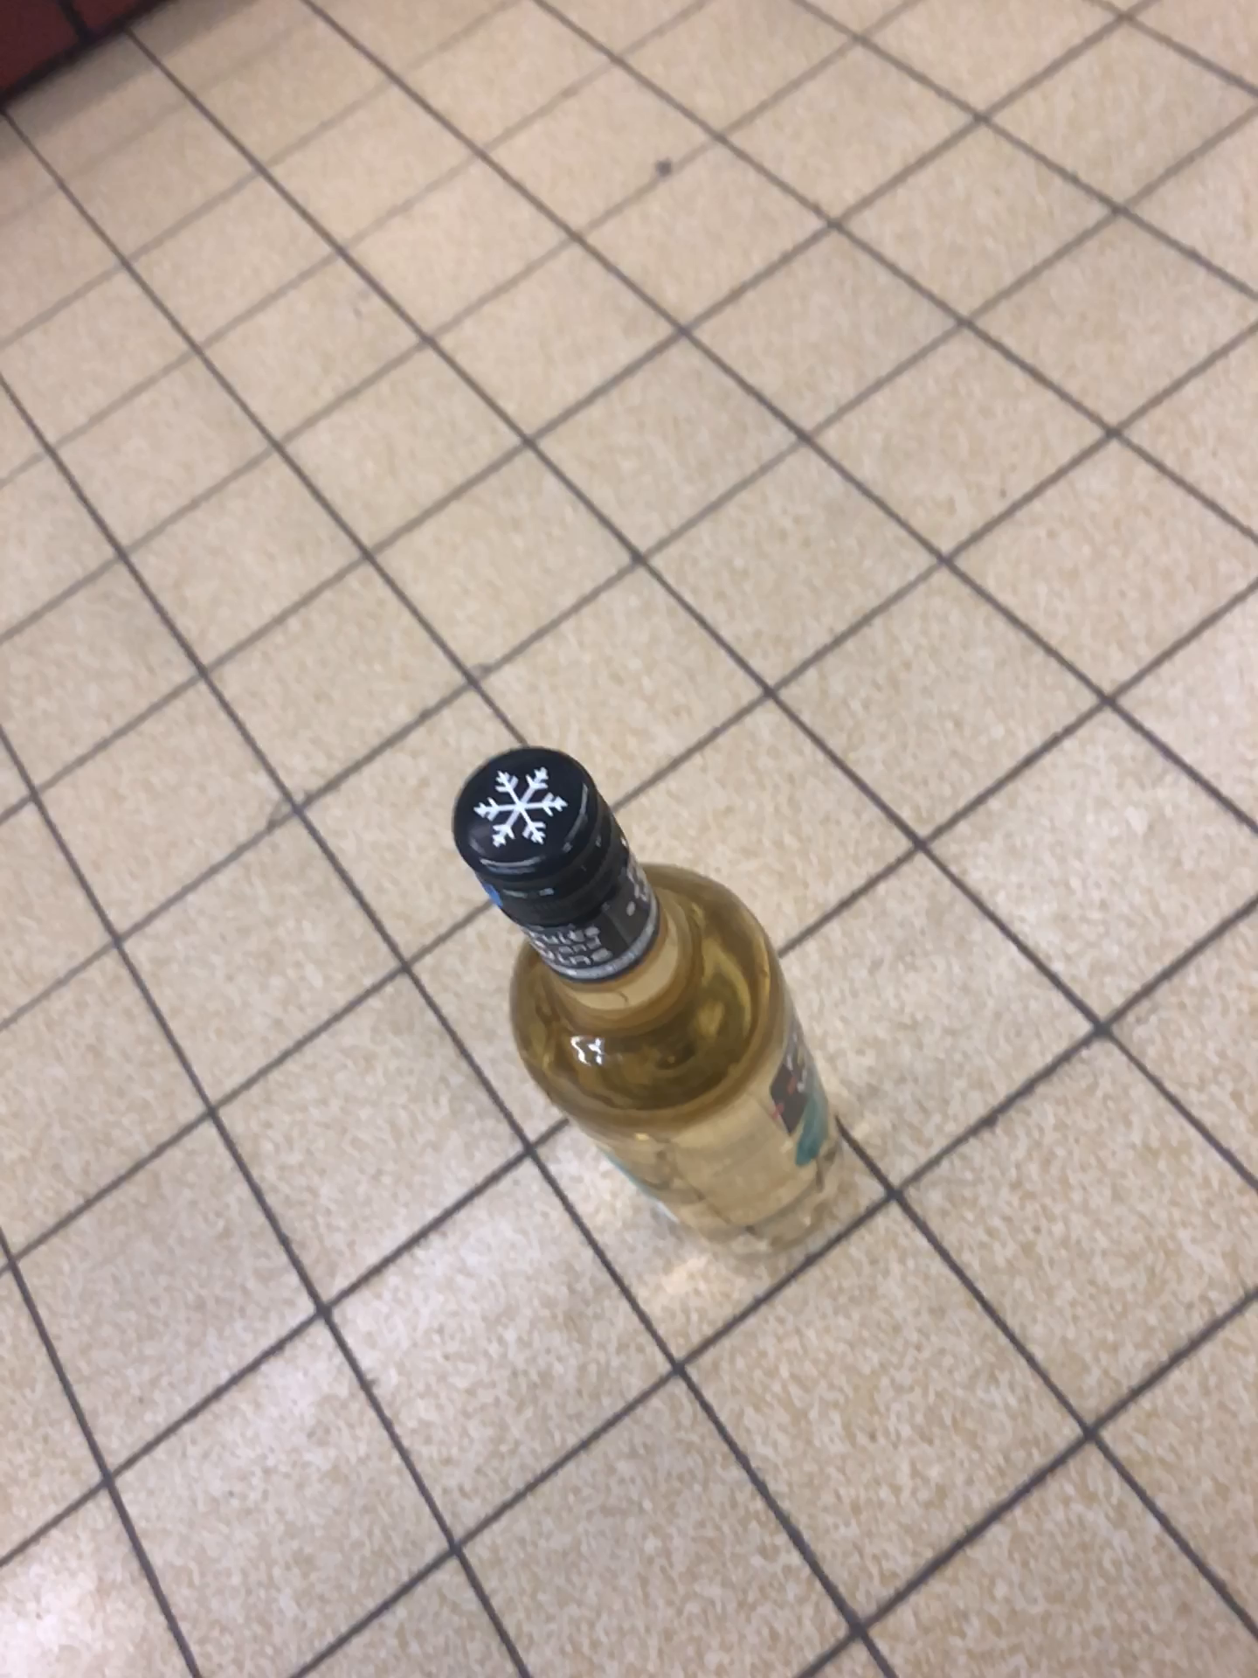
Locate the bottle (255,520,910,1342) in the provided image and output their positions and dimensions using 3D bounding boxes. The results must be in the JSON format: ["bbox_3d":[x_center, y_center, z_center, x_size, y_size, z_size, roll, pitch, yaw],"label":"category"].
[{"bbox_3d":[0.012,0.058,0.388,0.090,0.299,0.100,-21,62,3],"label":"bottle"}]
